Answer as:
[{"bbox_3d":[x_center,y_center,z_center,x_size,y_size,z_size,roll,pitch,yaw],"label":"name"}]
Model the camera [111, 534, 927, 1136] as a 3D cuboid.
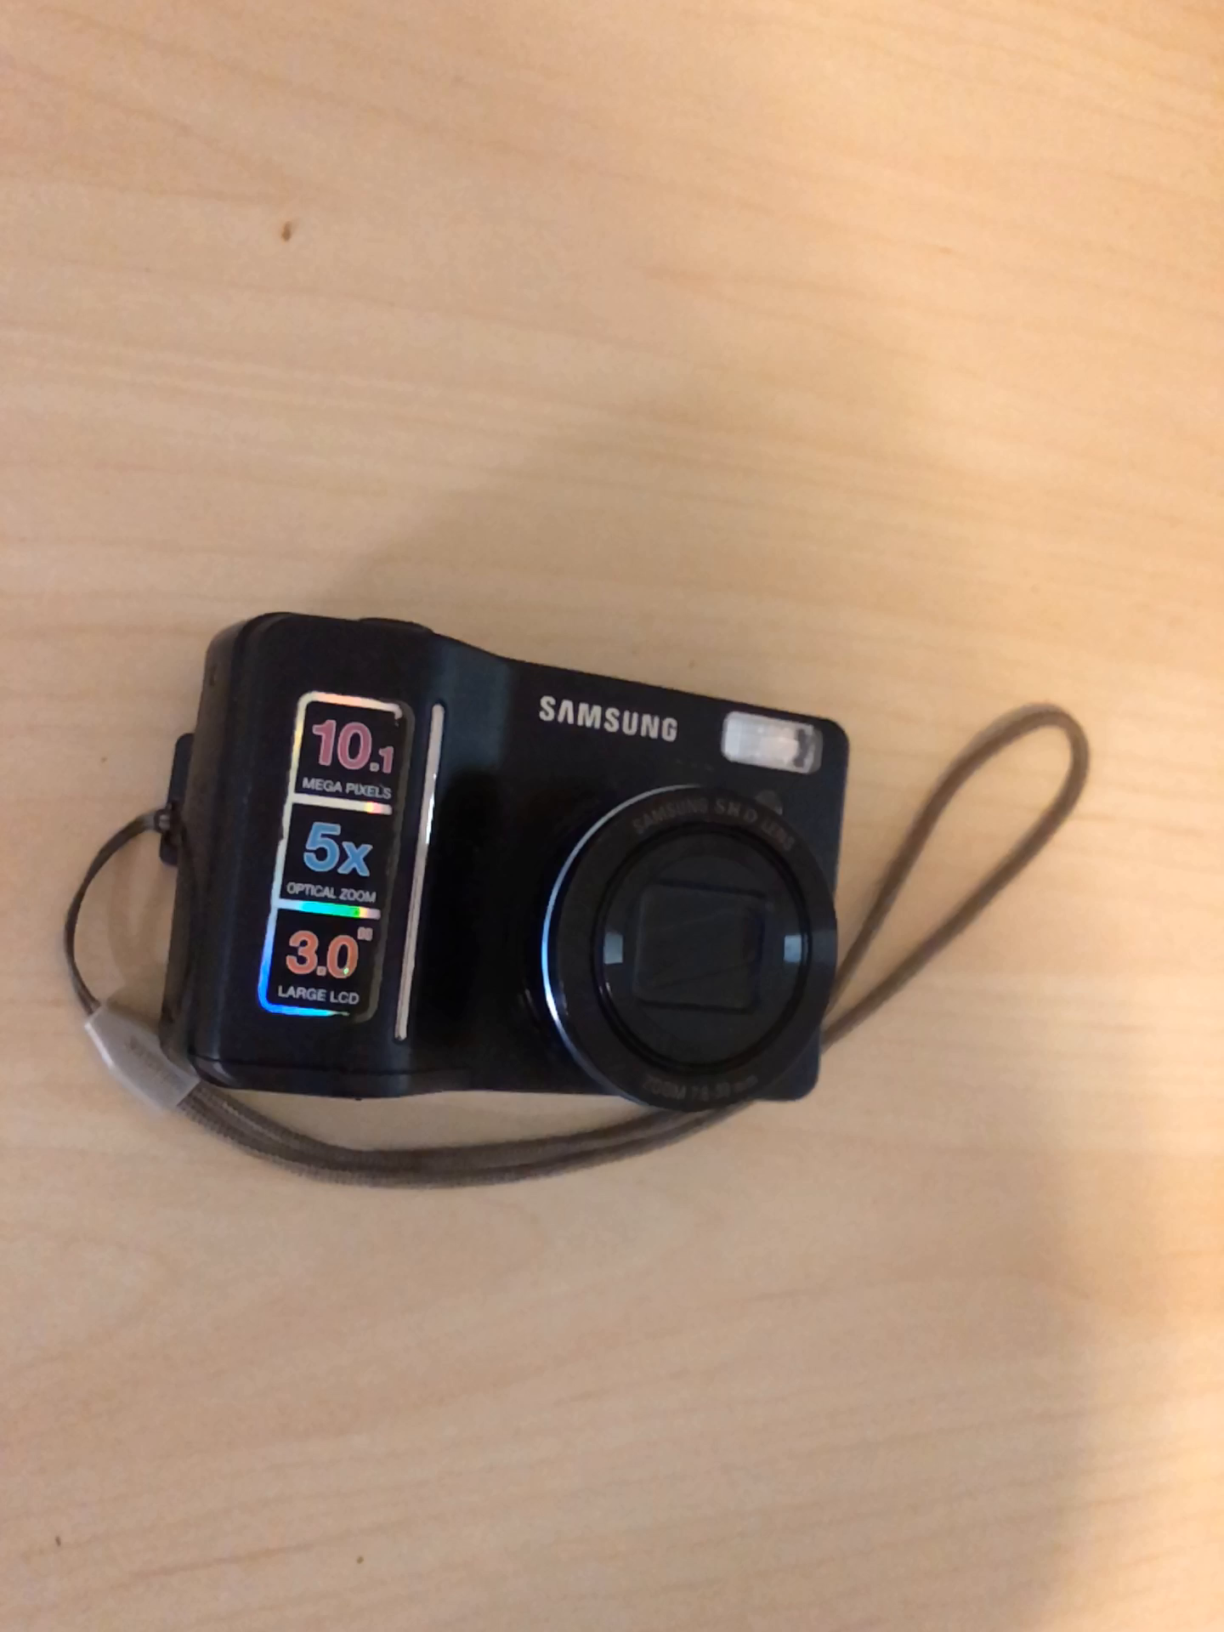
[{"bbox_3d":[-0.010,0.007,0.203,0.110,0.030,0.070,8,85,-24],"label":"camera"}]
